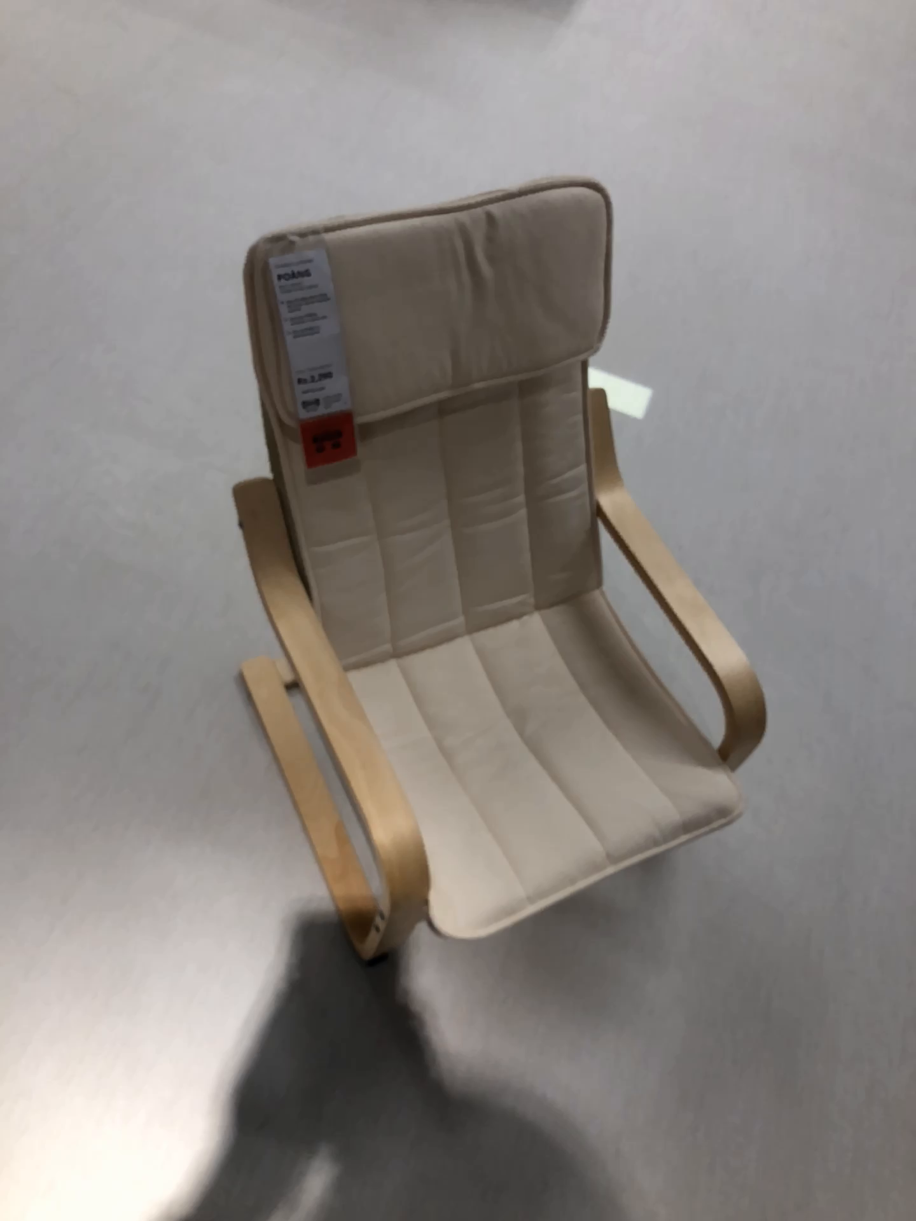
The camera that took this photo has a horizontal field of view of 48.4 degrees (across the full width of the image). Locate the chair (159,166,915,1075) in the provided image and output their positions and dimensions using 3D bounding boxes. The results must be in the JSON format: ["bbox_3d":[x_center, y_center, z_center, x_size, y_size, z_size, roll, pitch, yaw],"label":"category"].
[{"bbox_3d":[0.038,0.068,1.157,0.561,0.836,0.582,-12,61,-18],"label":"chair"}]
